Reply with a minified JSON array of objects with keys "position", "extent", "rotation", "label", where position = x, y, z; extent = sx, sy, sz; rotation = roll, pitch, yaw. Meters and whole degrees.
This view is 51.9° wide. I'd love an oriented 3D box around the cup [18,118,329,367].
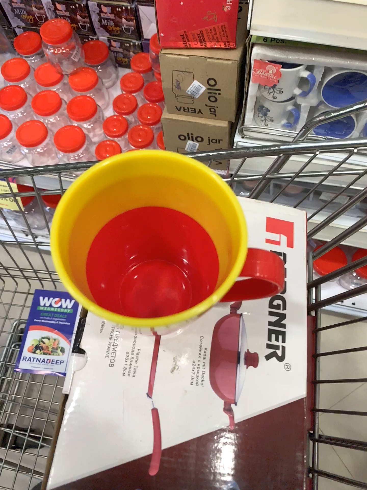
[{"position":[0.001,0.004,0.186],"extent":[0.110,0.080,0.080],"rotation":[10,66,3],"label":"cup"}]
